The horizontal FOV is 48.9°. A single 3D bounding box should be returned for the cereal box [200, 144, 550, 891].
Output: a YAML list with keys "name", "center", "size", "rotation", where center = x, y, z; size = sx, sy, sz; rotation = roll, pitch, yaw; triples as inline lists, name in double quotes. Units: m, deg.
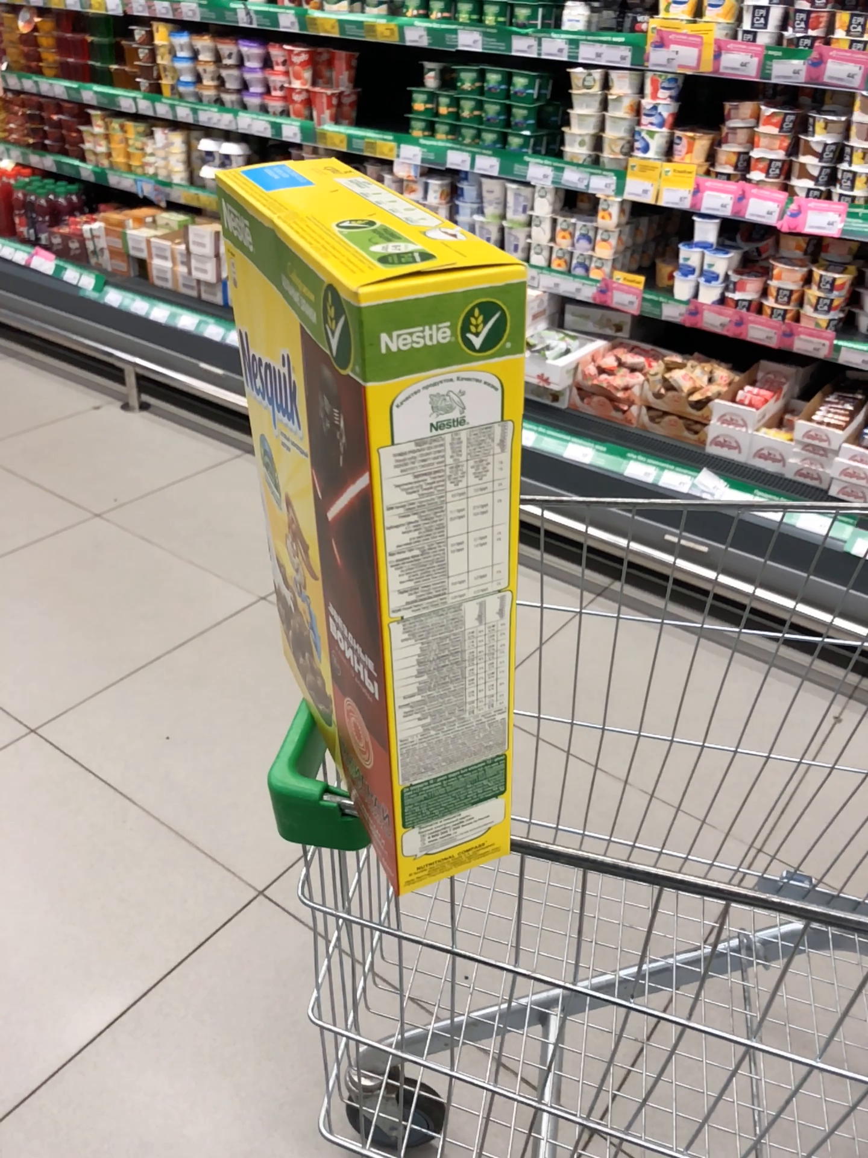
- name: "cereal box"
  center: [-0.032, -0.034, 0.434]
  size: [0.070, 0.268, 0.201]
  rotation: [-14, 35, -18]
